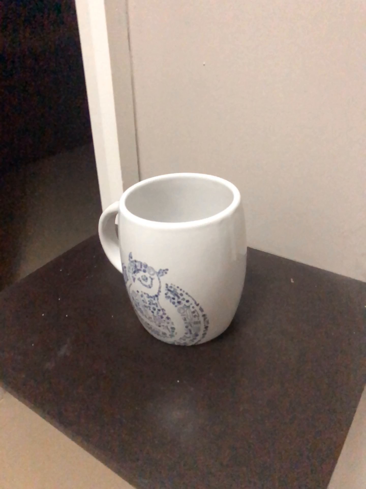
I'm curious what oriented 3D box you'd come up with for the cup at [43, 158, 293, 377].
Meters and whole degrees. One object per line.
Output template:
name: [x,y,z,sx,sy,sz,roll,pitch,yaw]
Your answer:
cup: [-0.009,0.003,0.285,0.130,0.079,0.101,19,36,32]
